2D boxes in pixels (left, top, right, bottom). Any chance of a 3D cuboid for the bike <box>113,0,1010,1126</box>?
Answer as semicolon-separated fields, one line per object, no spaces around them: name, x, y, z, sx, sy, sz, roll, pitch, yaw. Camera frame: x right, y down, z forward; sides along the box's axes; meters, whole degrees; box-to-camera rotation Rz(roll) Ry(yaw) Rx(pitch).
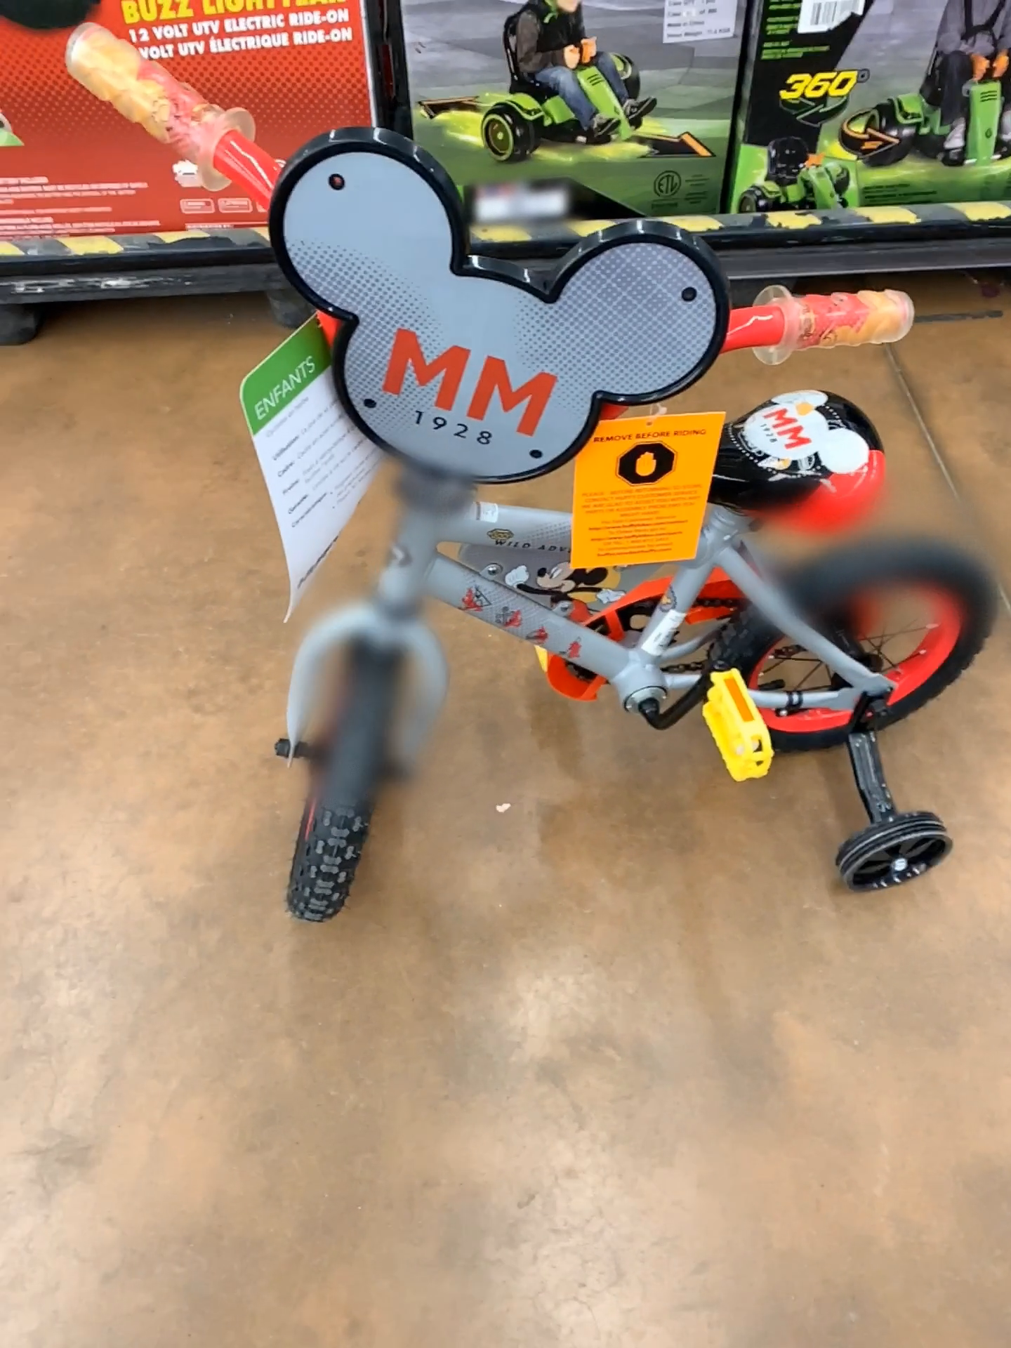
bike;0.118;-0.094;0.834;0.641;0.689;0.453;-18;51;-8
